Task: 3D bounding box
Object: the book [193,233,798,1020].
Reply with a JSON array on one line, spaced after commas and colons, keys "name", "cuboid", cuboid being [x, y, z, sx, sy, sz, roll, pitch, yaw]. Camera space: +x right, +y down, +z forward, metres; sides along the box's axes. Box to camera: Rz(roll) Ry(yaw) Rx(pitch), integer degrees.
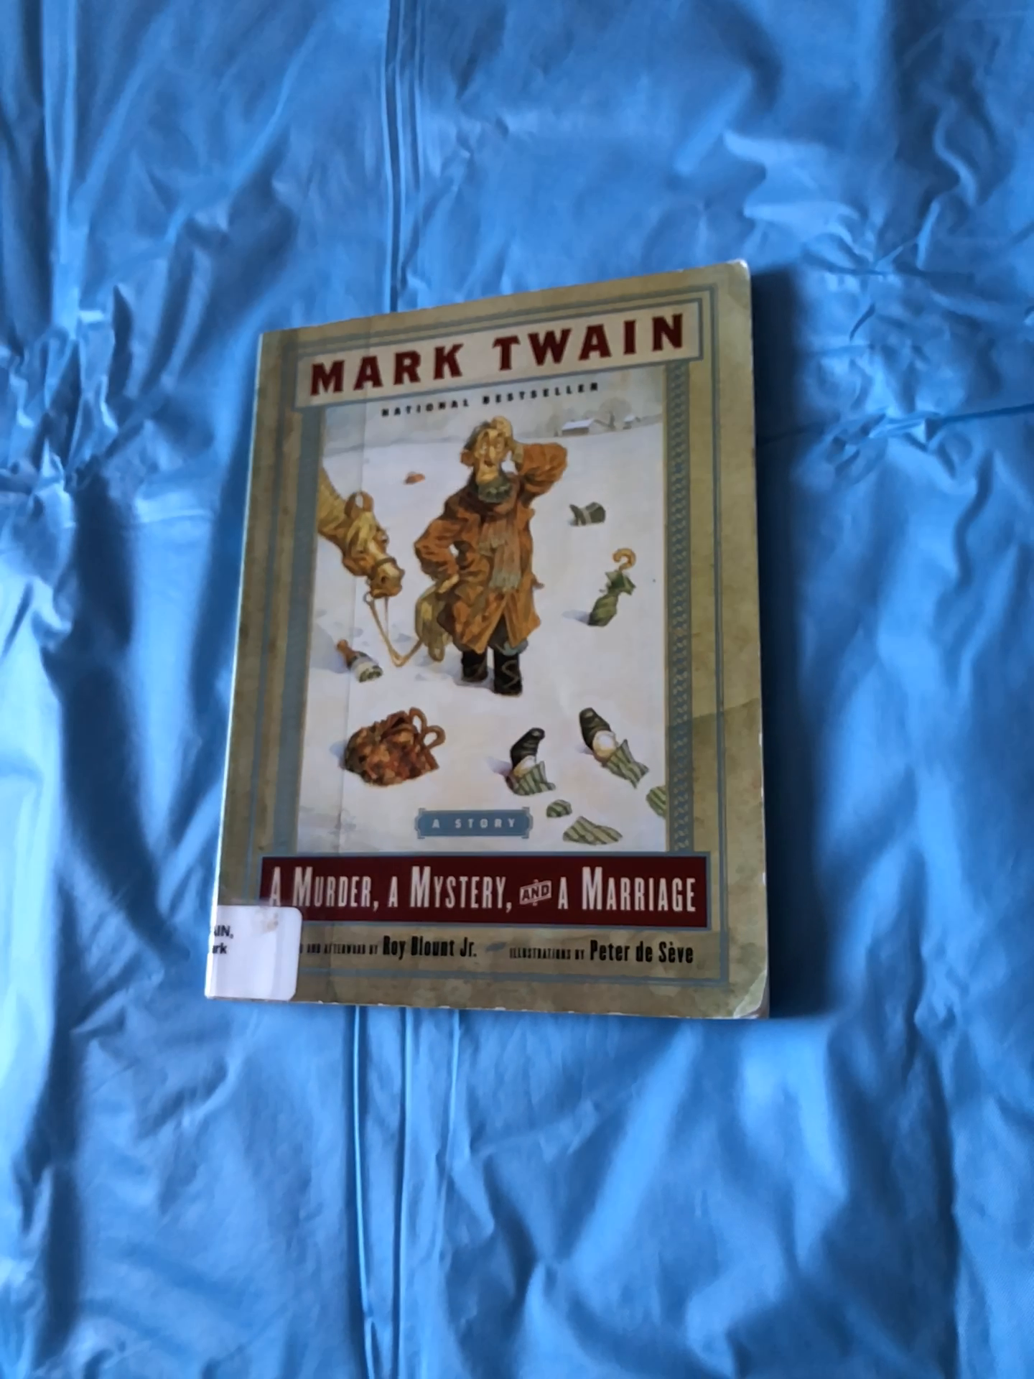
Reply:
[{"name": "book", "cuboid": [-0.007, -0.018, 0.327, 0.160, 0.020, 0.210, -3, 76, 16]}]
